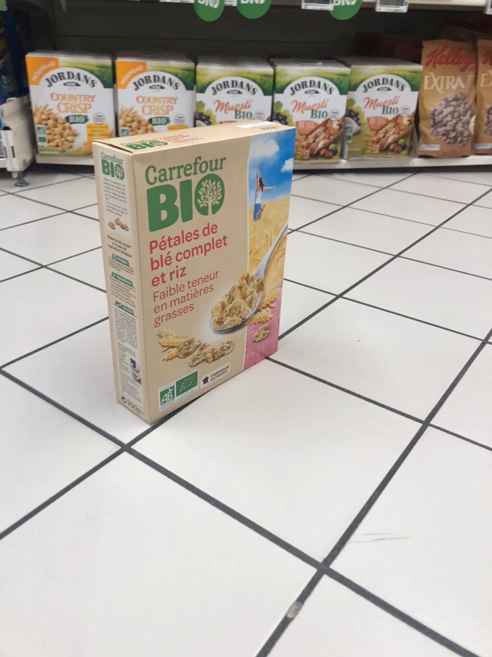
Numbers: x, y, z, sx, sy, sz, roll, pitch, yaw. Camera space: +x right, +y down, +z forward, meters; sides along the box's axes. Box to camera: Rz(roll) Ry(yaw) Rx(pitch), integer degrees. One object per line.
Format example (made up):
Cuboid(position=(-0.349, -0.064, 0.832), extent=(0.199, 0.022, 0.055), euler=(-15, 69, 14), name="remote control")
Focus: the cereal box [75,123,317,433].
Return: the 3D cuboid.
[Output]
Cuboid(position=(-0.036, -0.059, 0.526), extent=(0.080, 0.239, 0.211), euler=(25, 36, 37), name="cereal box")
